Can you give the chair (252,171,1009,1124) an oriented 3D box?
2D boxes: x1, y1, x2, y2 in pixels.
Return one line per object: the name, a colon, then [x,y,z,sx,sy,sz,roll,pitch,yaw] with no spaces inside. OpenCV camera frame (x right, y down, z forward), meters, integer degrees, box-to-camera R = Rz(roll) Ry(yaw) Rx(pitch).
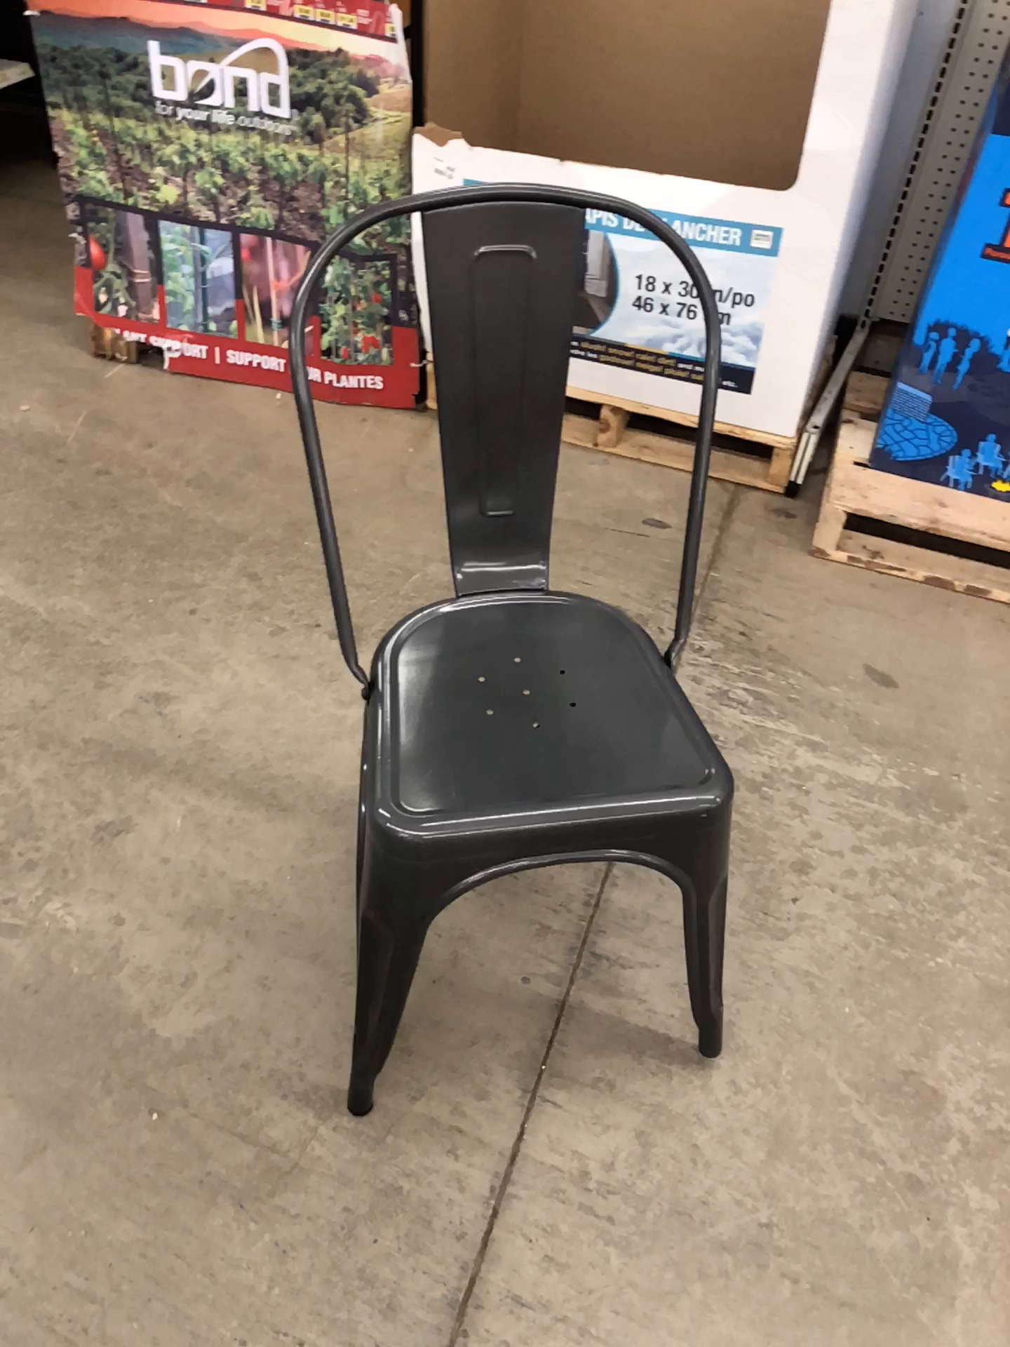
chair: [0.031,-0.003,1.144,0.480,0.817,0.502,-5,44,-11]
